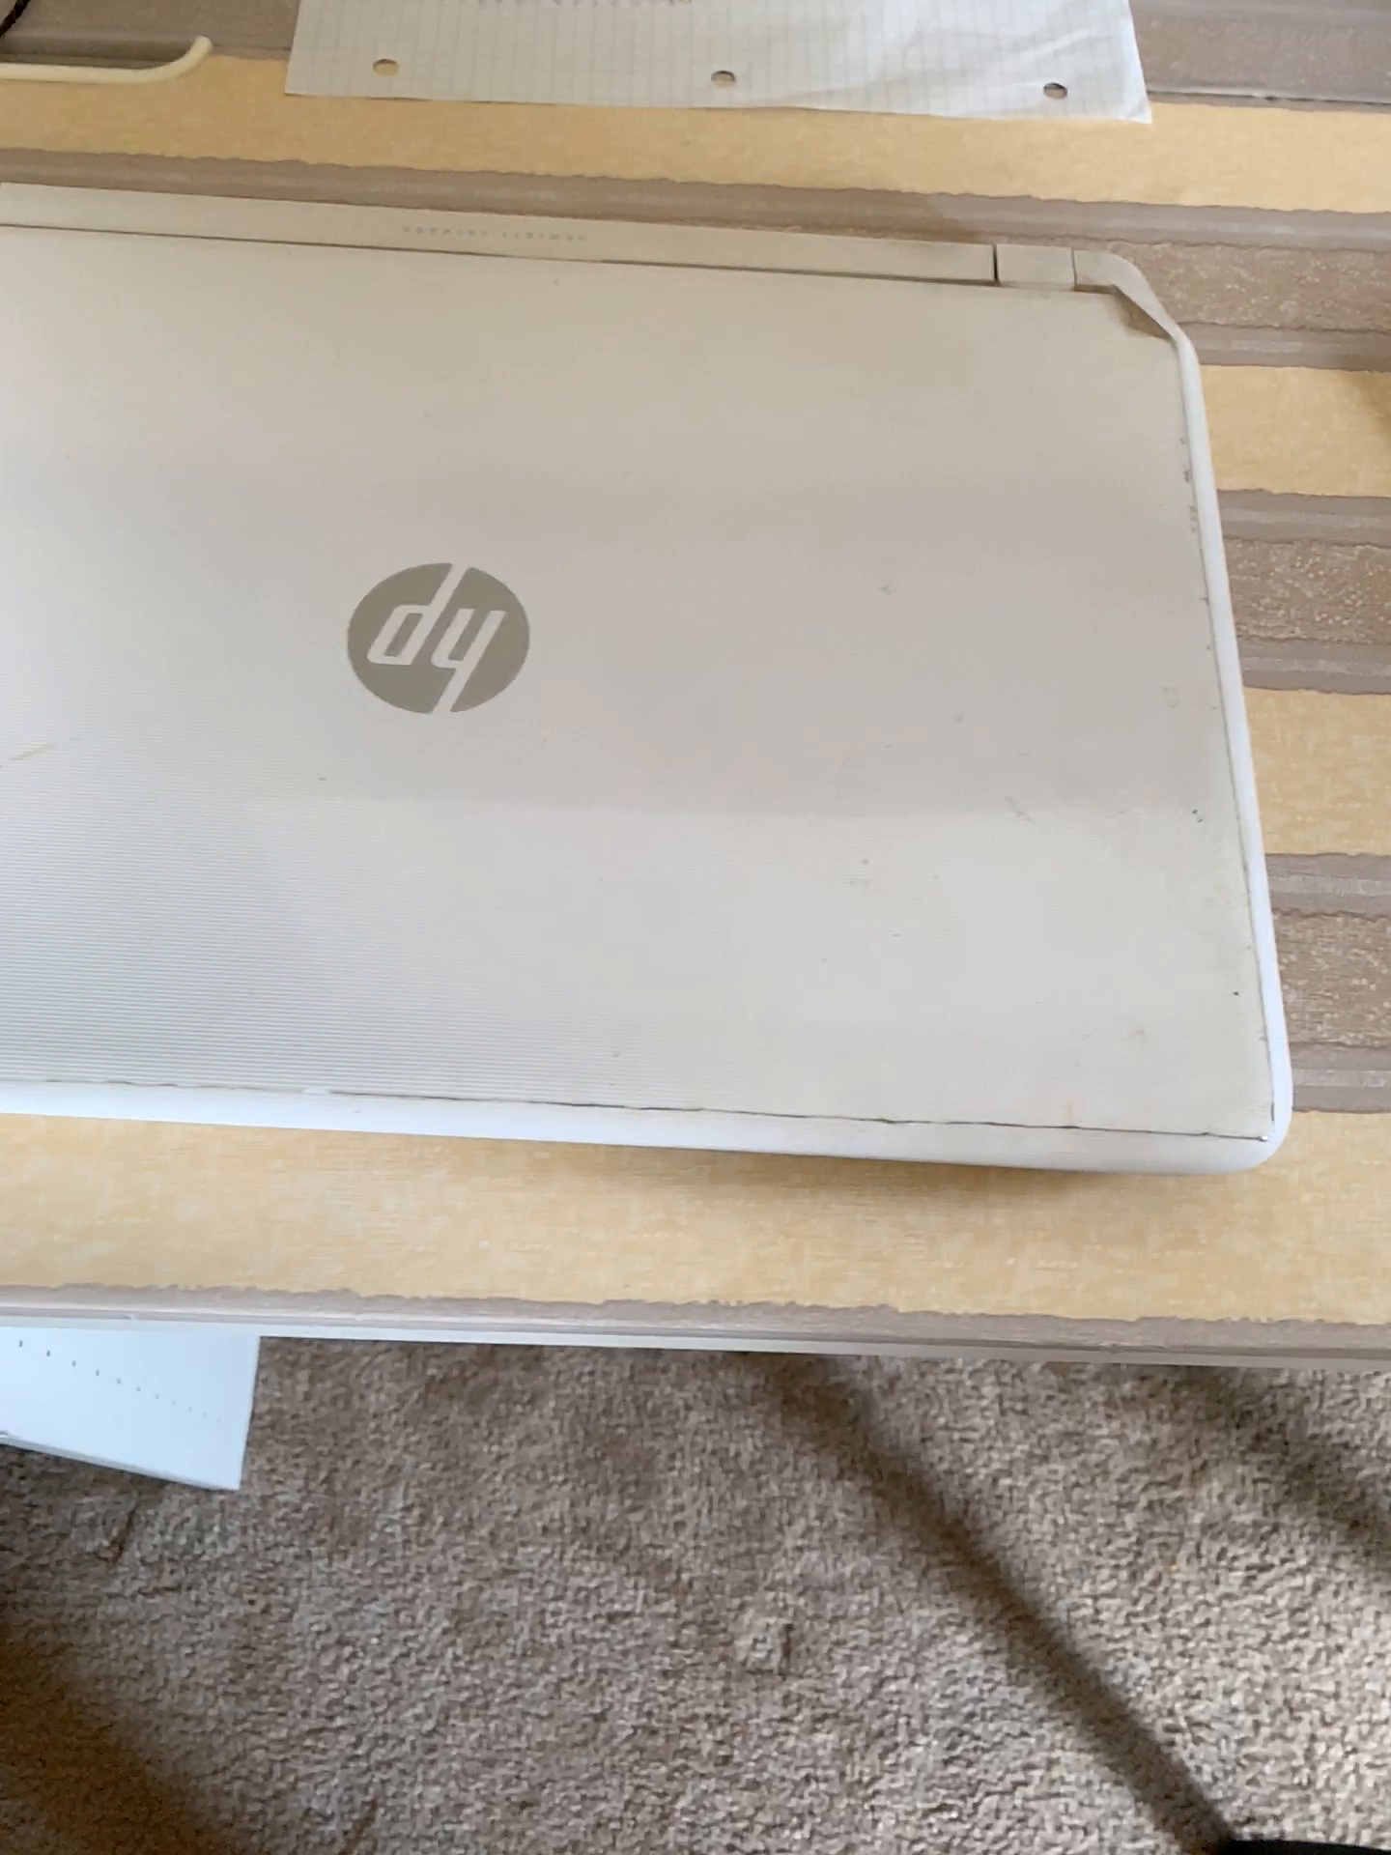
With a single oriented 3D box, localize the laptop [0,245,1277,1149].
[{"bbox_3d":[-0.058,-0.069,0.337,0.363,0.002,0.229,3,66,0],"label":"laptop"}]
